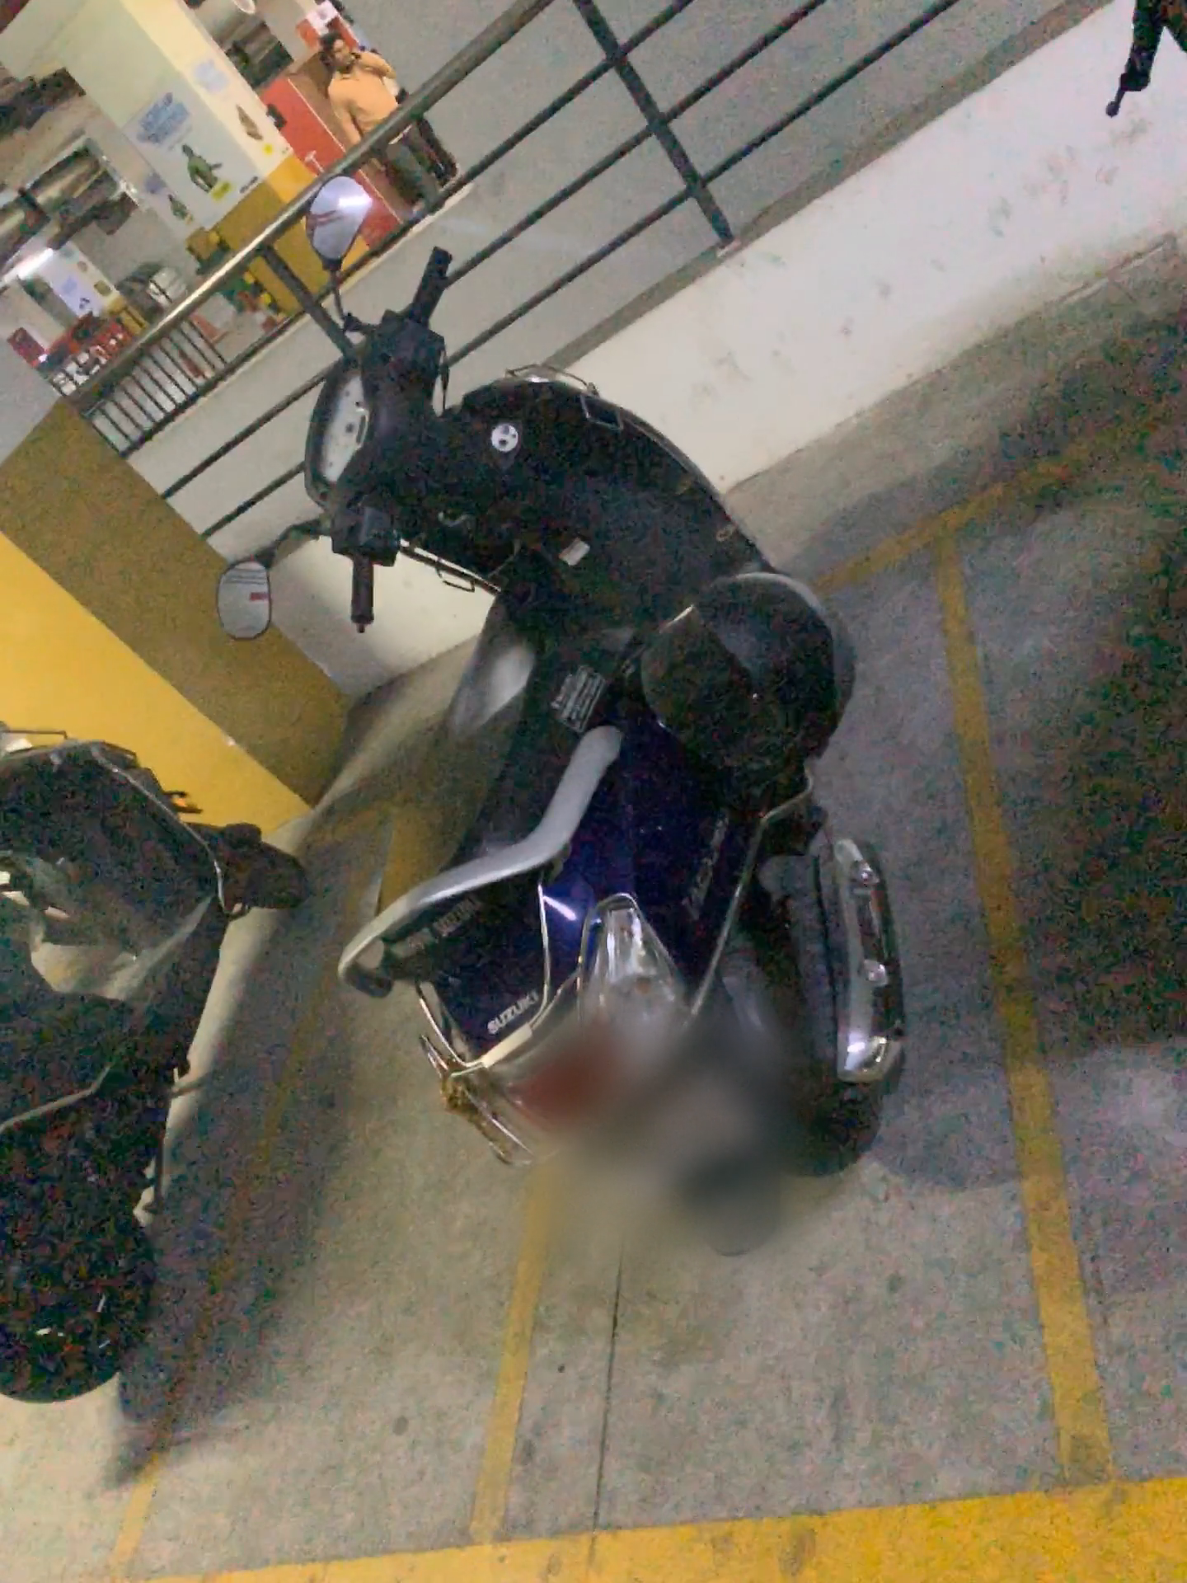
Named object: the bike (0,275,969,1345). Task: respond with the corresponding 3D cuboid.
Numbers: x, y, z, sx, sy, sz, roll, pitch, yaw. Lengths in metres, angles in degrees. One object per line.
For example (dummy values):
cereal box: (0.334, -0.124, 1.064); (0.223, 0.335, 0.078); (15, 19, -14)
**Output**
bike: (-0.091, -0.075, 2.067); (0.623, 1.156, 1.480); (-32, 28, 19)
